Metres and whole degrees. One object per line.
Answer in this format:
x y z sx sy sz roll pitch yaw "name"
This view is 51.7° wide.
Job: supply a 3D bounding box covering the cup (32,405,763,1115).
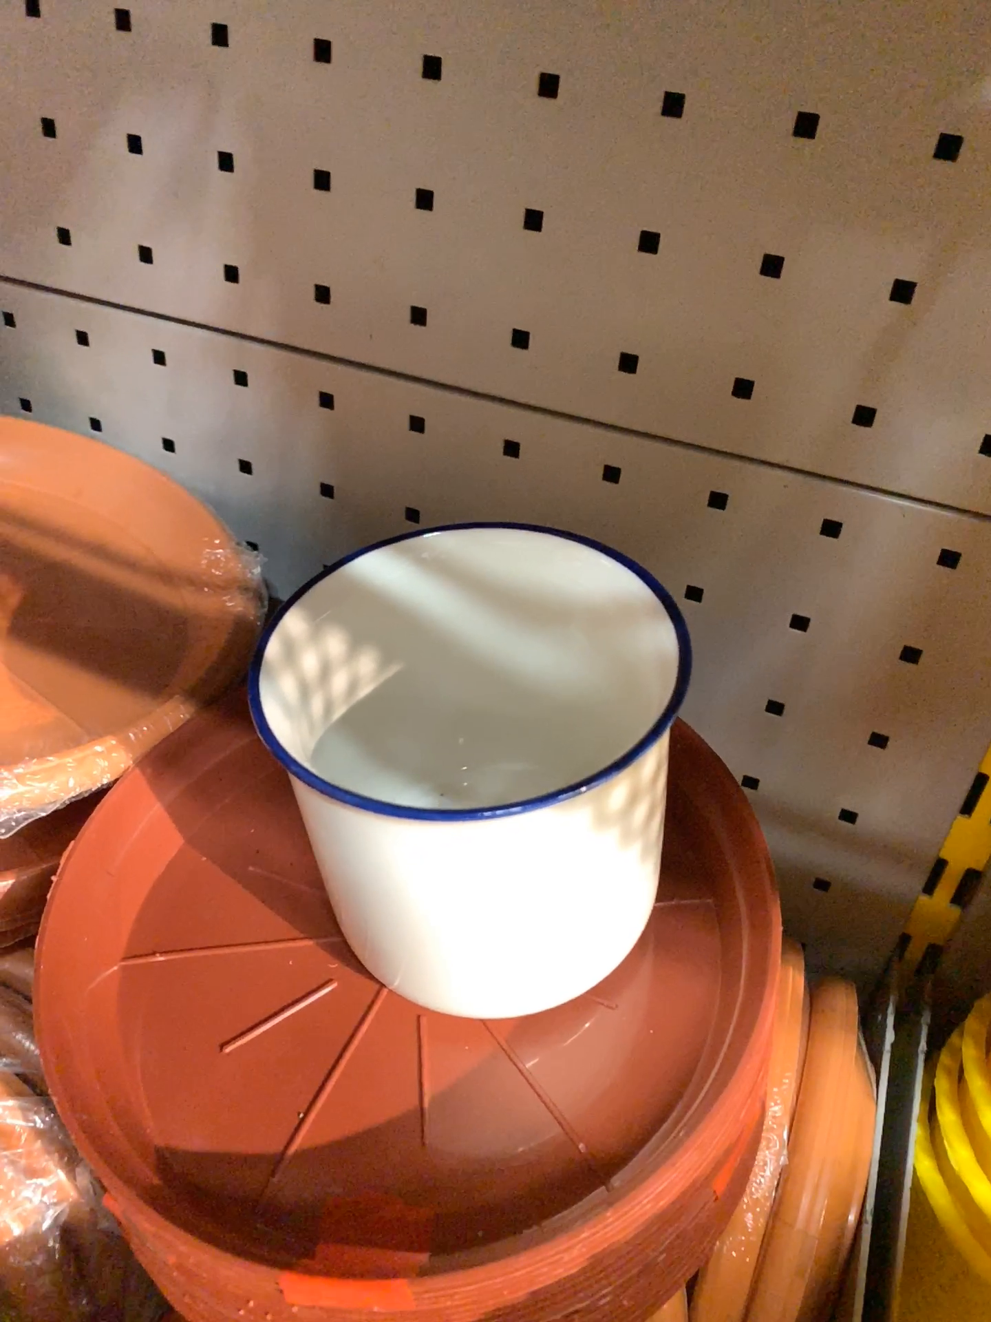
-0.018 0.017 0.241 0.120 0.090 0.090 25 52 26 "cup"
